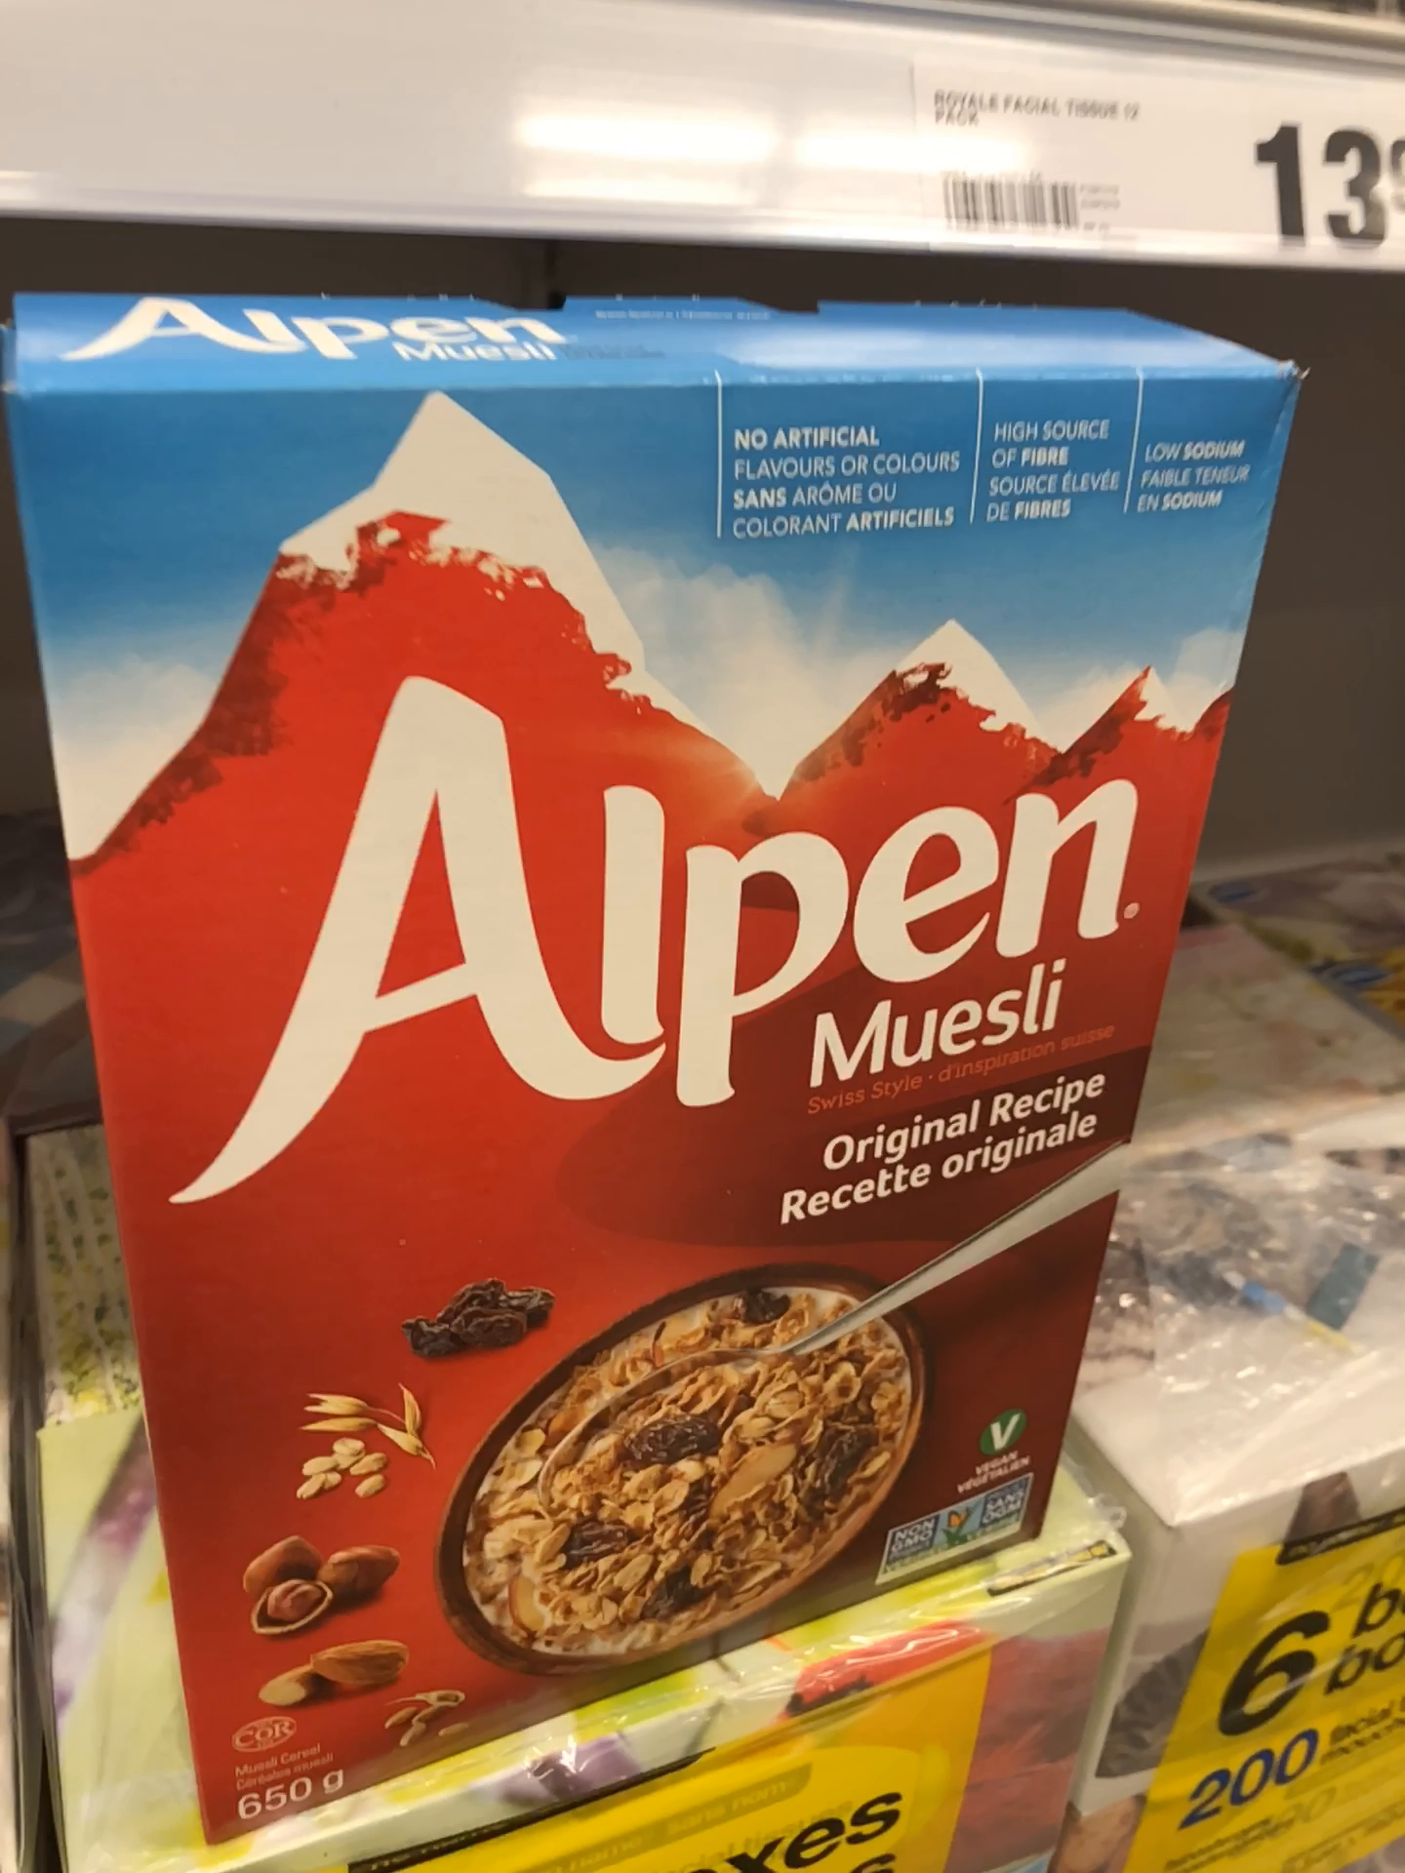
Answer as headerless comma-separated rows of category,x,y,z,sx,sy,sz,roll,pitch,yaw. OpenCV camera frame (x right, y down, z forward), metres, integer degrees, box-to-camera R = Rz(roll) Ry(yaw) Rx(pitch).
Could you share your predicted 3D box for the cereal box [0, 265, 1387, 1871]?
cereal box,-0.006,0.022,0.252,0.180,0.229,0.050,-9,31,-25
